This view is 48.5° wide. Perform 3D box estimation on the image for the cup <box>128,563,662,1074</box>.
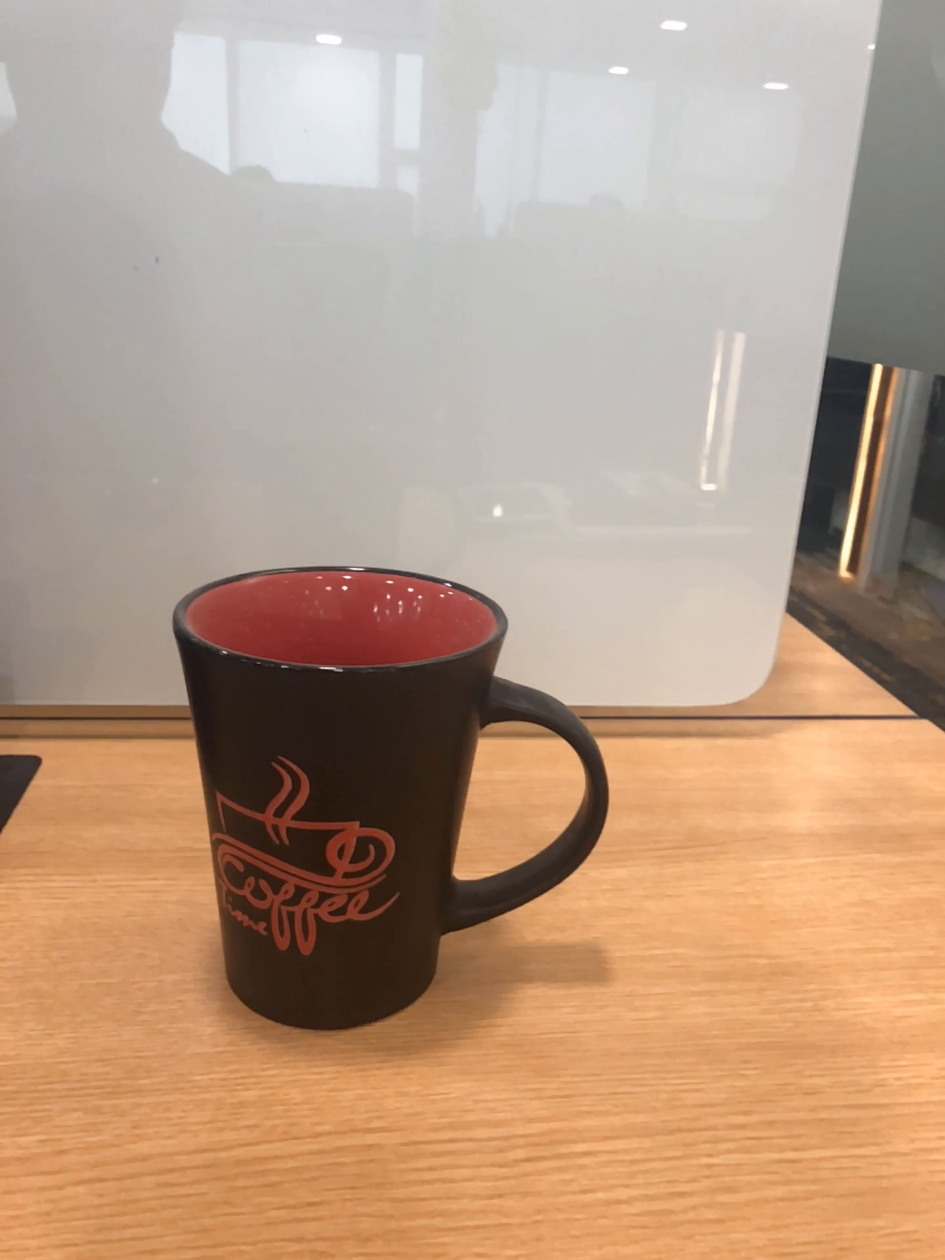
[{"bbox_3d":[-0.018,0.045,0.292,0.120,0.100,0.090,4,18,3],"label":"cup"}]
